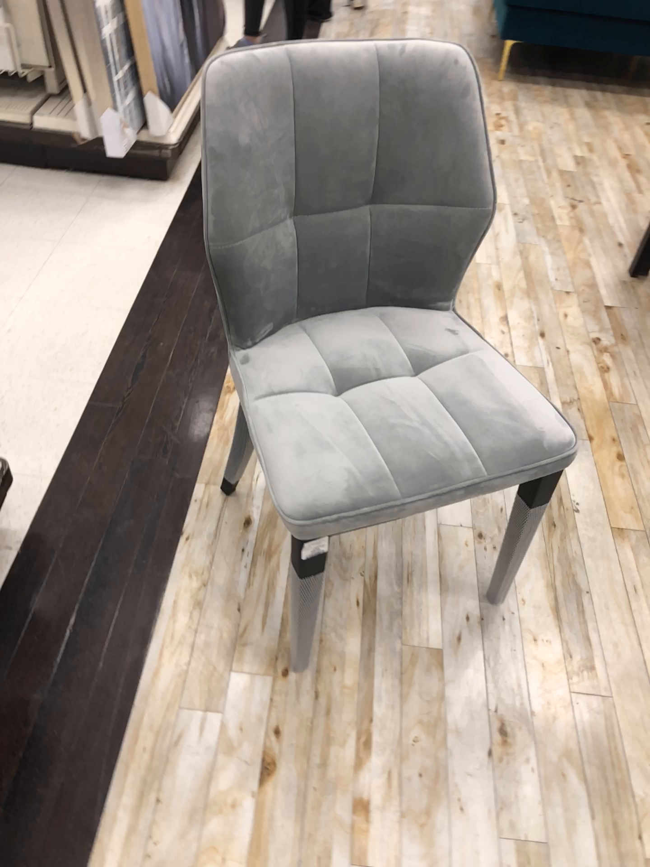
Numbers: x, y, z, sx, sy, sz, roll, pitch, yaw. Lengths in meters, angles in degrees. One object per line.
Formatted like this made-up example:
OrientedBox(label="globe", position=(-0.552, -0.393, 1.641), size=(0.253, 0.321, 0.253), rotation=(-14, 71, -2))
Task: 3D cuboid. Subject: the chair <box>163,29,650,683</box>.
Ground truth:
OrientedBox(label="chair", position=(0.091, -0.115, 1.197), size=(0.530, 0.837, 0.572), rotation=(-13, 48, -18))
